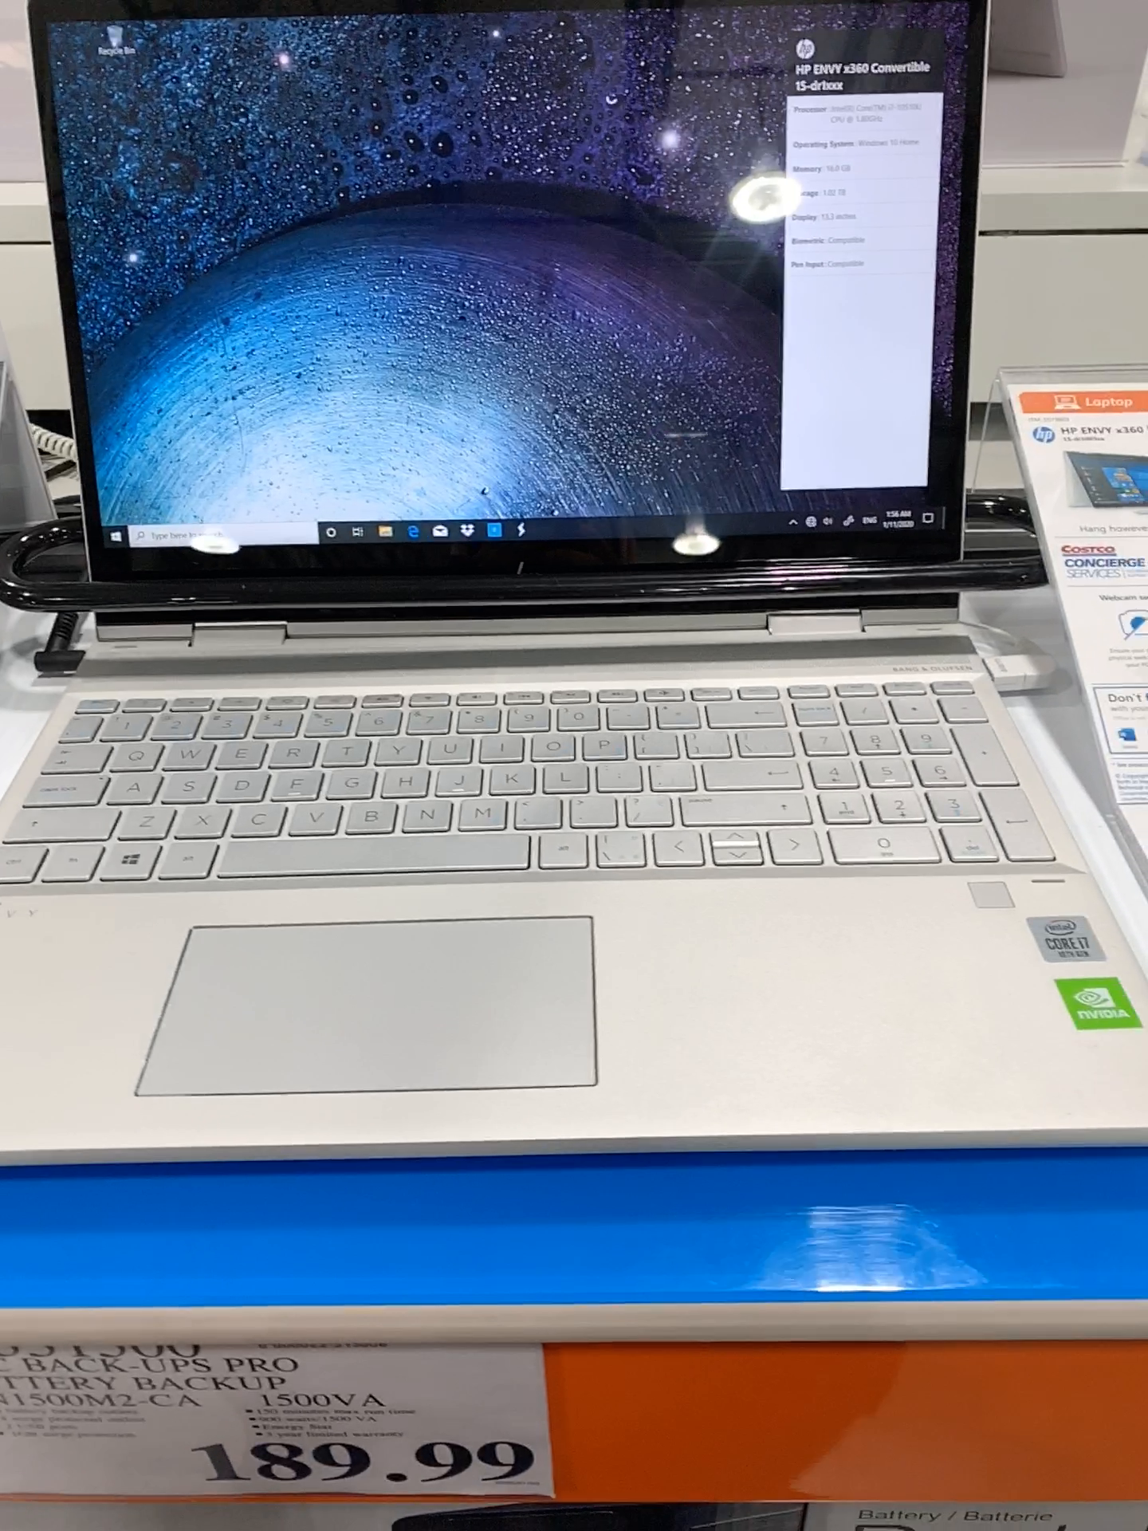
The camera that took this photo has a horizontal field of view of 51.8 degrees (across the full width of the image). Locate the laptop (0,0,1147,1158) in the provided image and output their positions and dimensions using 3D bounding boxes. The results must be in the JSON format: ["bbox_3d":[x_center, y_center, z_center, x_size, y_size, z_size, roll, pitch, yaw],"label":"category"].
[{"bbox_3d":[-0.022,-0.096,0.356,0.346,0.209,0.341,-1,38,0],"label":"laptop"}]
